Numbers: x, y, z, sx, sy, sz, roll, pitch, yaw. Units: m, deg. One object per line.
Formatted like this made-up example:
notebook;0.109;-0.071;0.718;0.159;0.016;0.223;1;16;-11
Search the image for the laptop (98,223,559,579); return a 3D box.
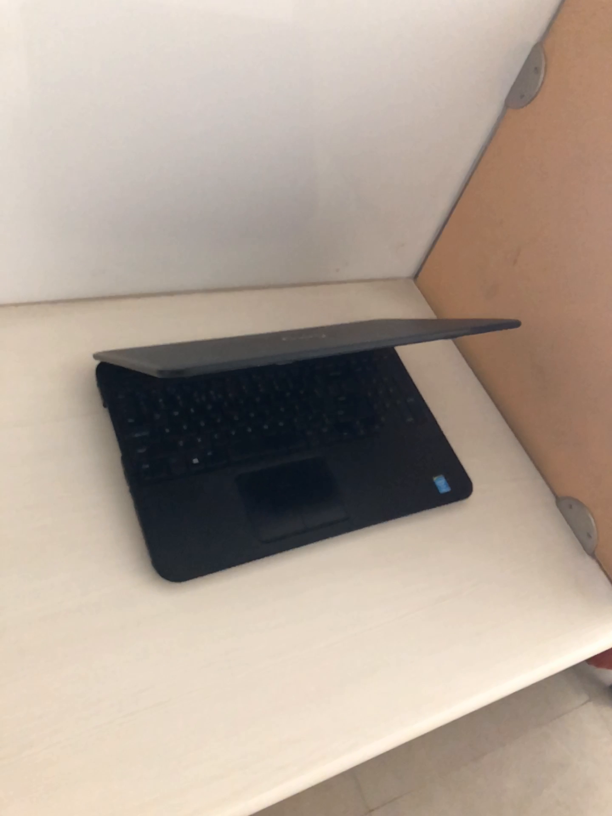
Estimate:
laptop;0.013;-0.028;0.684;0.365;0.177;0.248;-10;58;-29
